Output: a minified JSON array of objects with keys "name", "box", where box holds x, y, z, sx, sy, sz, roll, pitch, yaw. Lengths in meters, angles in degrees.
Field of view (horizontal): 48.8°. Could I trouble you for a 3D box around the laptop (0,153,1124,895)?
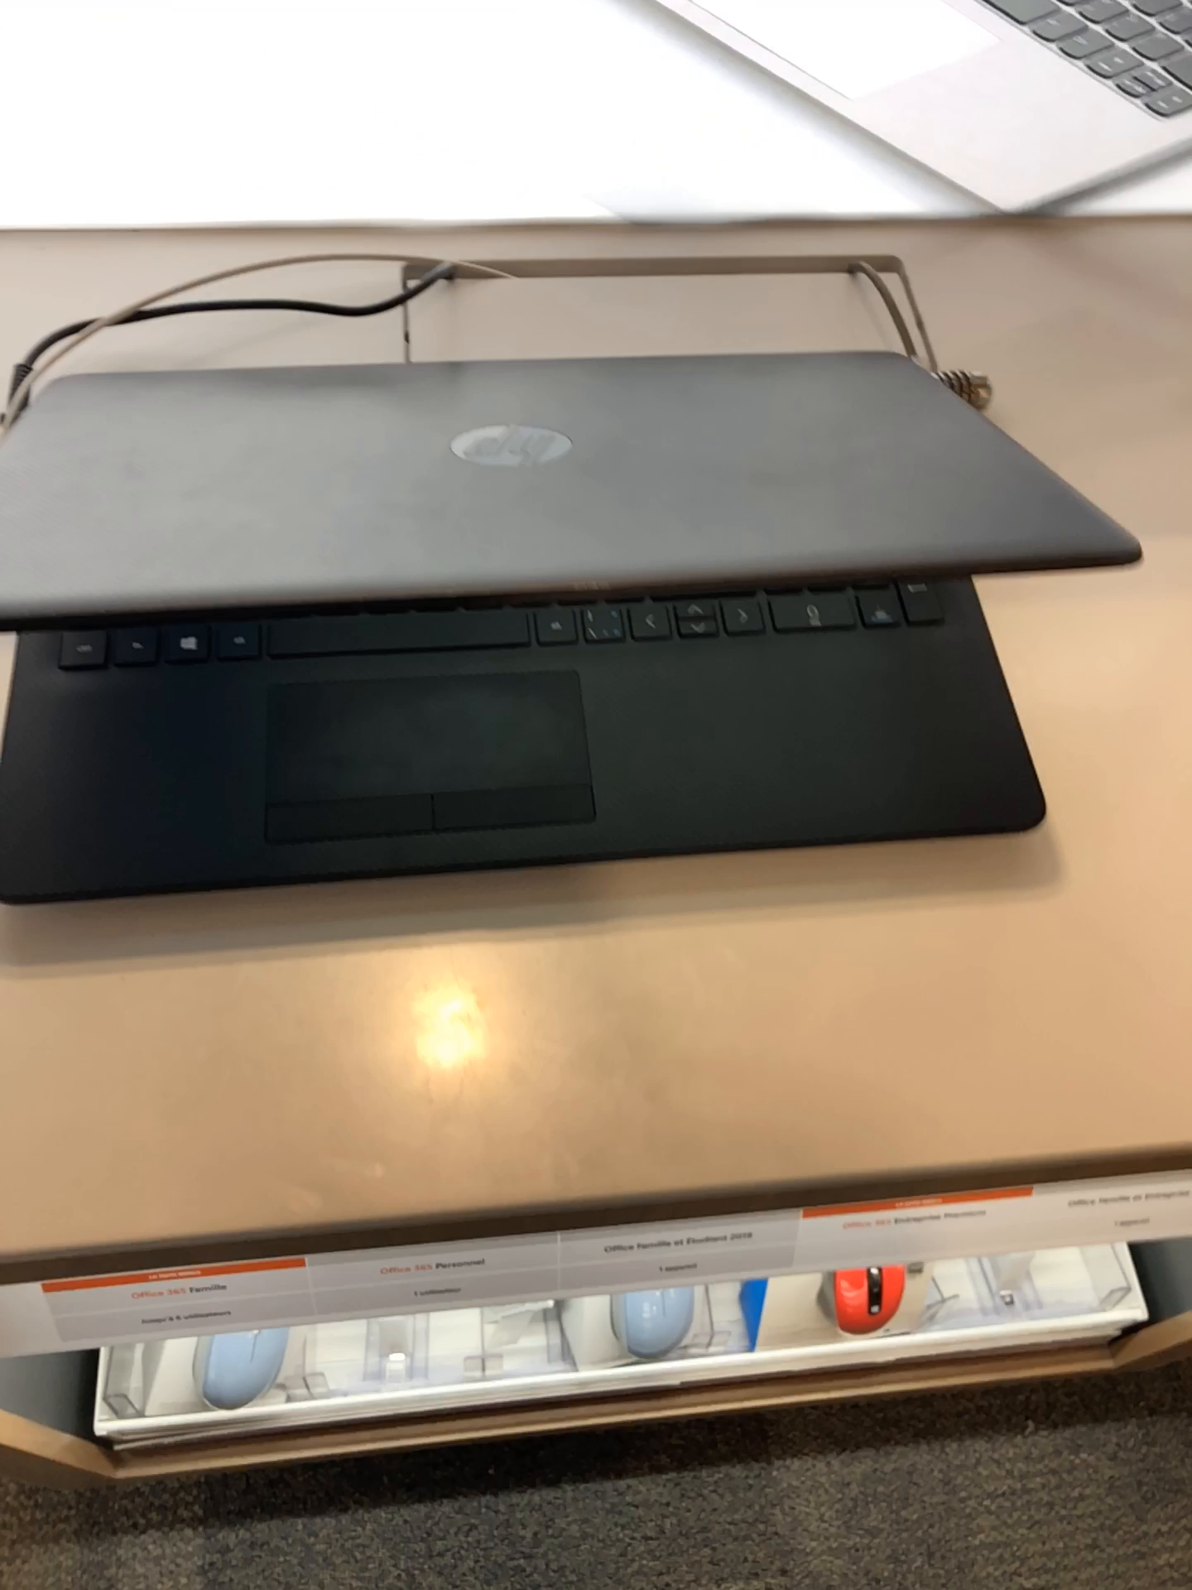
[{"name":"laptop","box":[-0.037,-0.106,0.470,0.351,0.107,0.239,-3,59,-5]}]
